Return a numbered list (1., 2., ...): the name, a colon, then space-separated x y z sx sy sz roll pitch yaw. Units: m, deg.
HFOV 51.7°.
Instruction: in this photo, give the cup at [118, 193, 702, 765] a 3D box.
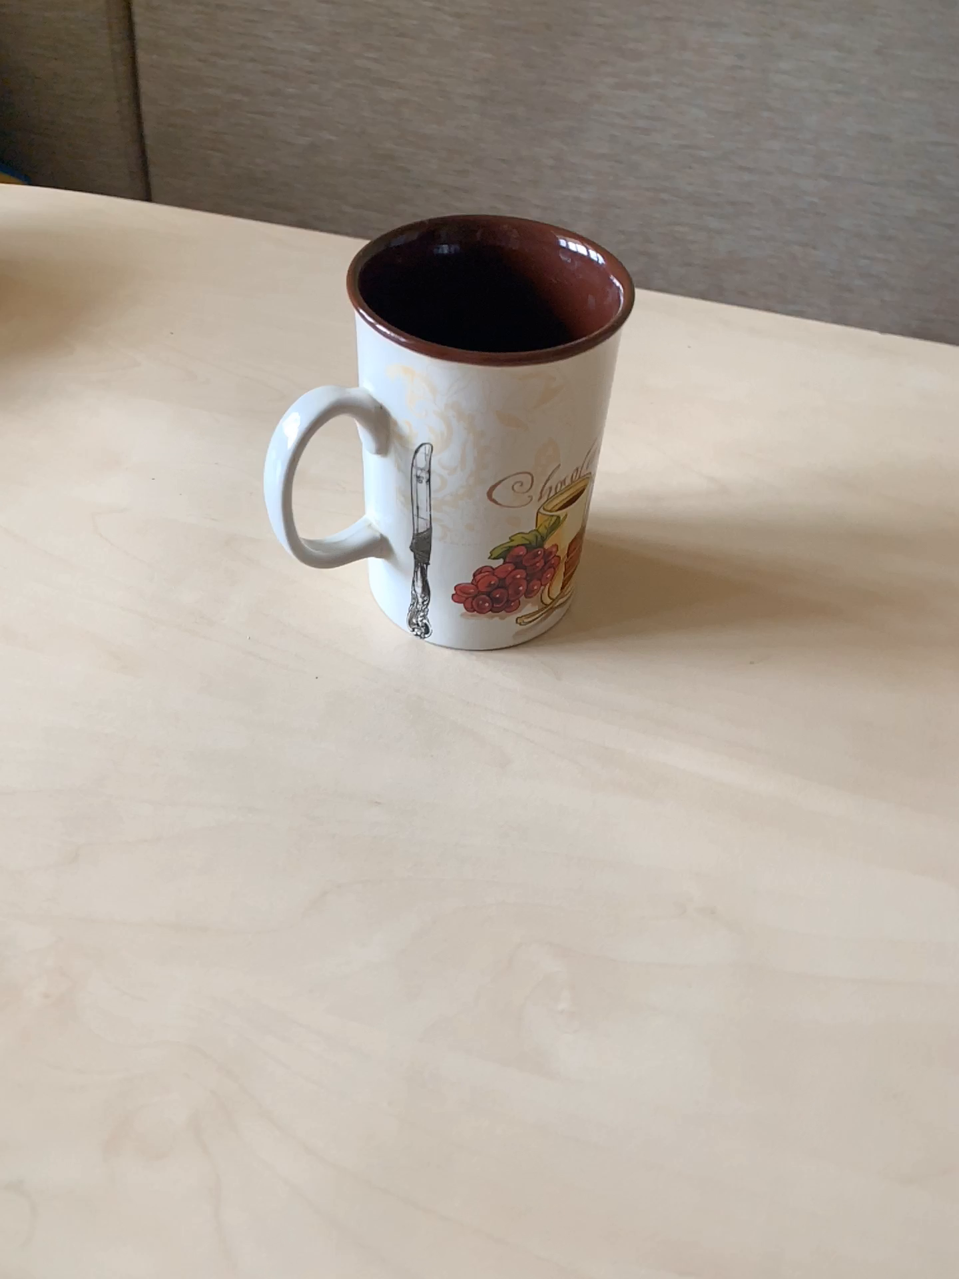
1. cup: -0.020 -0.054 0.308 0.130 0.110 0.090 -26 53 -26
